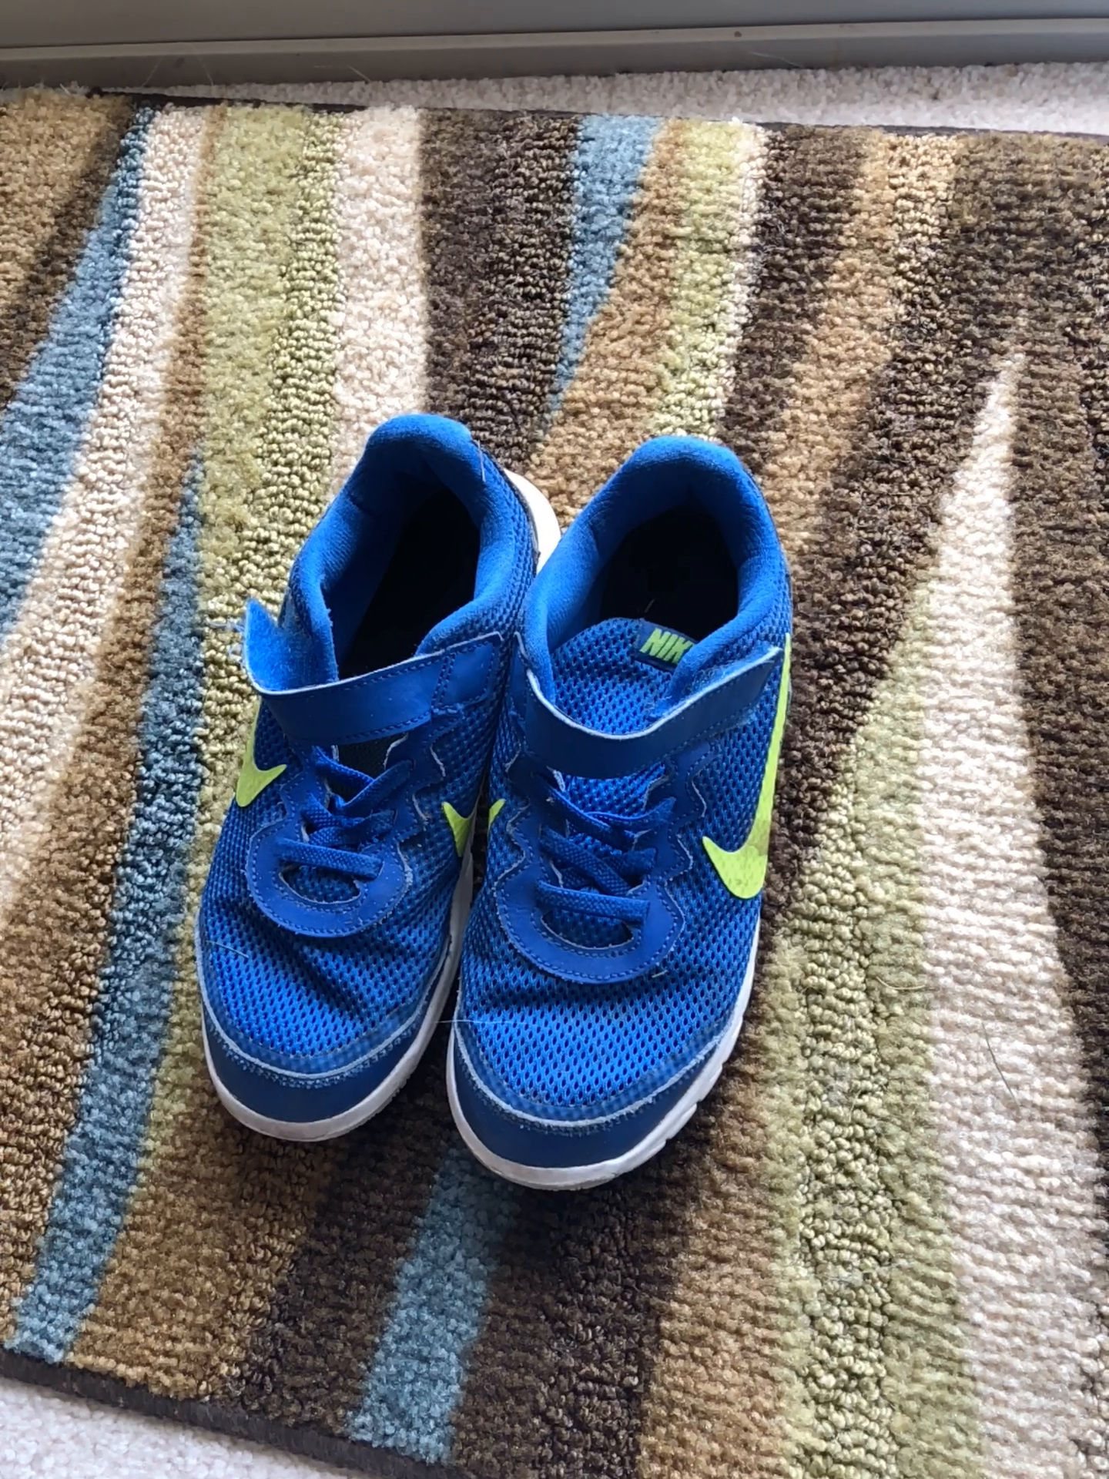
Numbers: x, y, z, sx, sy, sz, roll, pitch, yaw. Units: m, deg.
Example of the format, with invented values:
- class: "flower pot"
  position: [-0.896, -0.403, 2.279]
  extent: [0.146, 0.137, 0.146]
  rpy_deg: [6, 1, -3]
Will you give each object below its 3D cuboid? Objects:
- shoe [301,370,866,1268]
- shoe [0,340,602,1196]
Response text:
- class: "shoe"
  position: [0.018, 0.017, 0.363]
  extent: [0.103, 0.075, 0.231]
  rpy_deg: [11, 75, 12]
- class: "shoe"
  position: [-0.070, 0.005, 0.381]
  extent: [0.102, 0.075, 0.233]
  rpy_deg: [14, 76, 12]
